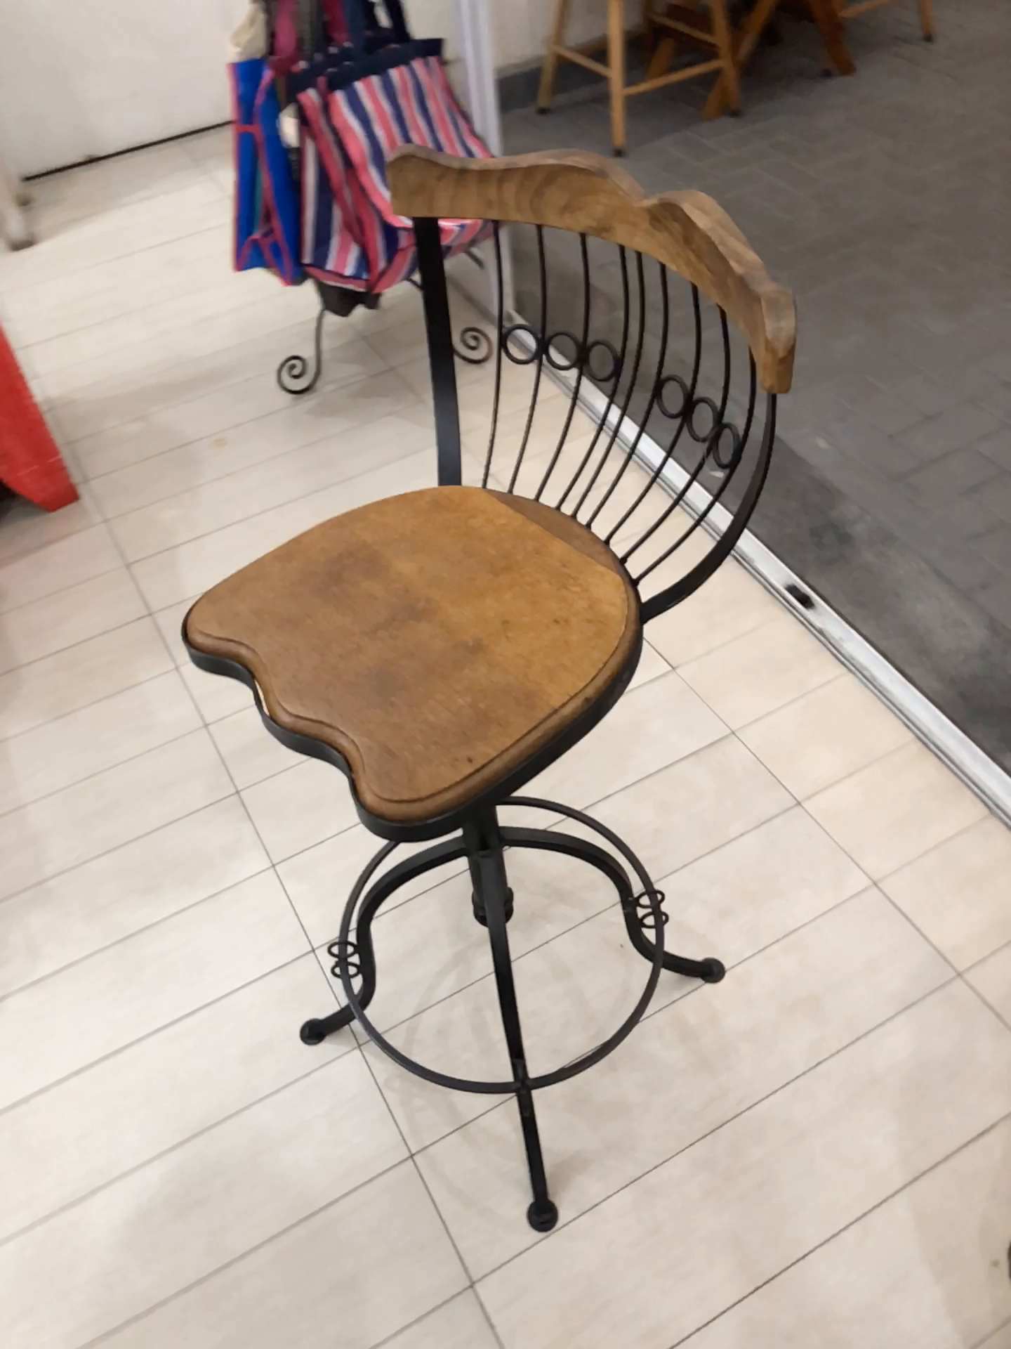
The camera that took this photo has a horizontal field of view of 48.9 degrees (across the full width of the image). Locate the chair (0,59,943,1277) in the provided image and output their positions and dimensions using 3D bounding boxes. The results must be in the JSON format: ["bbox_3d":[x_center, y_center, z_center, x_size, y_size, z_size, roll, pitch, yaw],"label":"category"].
[{"bbox_3d":[-0.030,0.047,1.001,0.471,0.894,0.462,-36,52,-25],"label":"chair"}]
